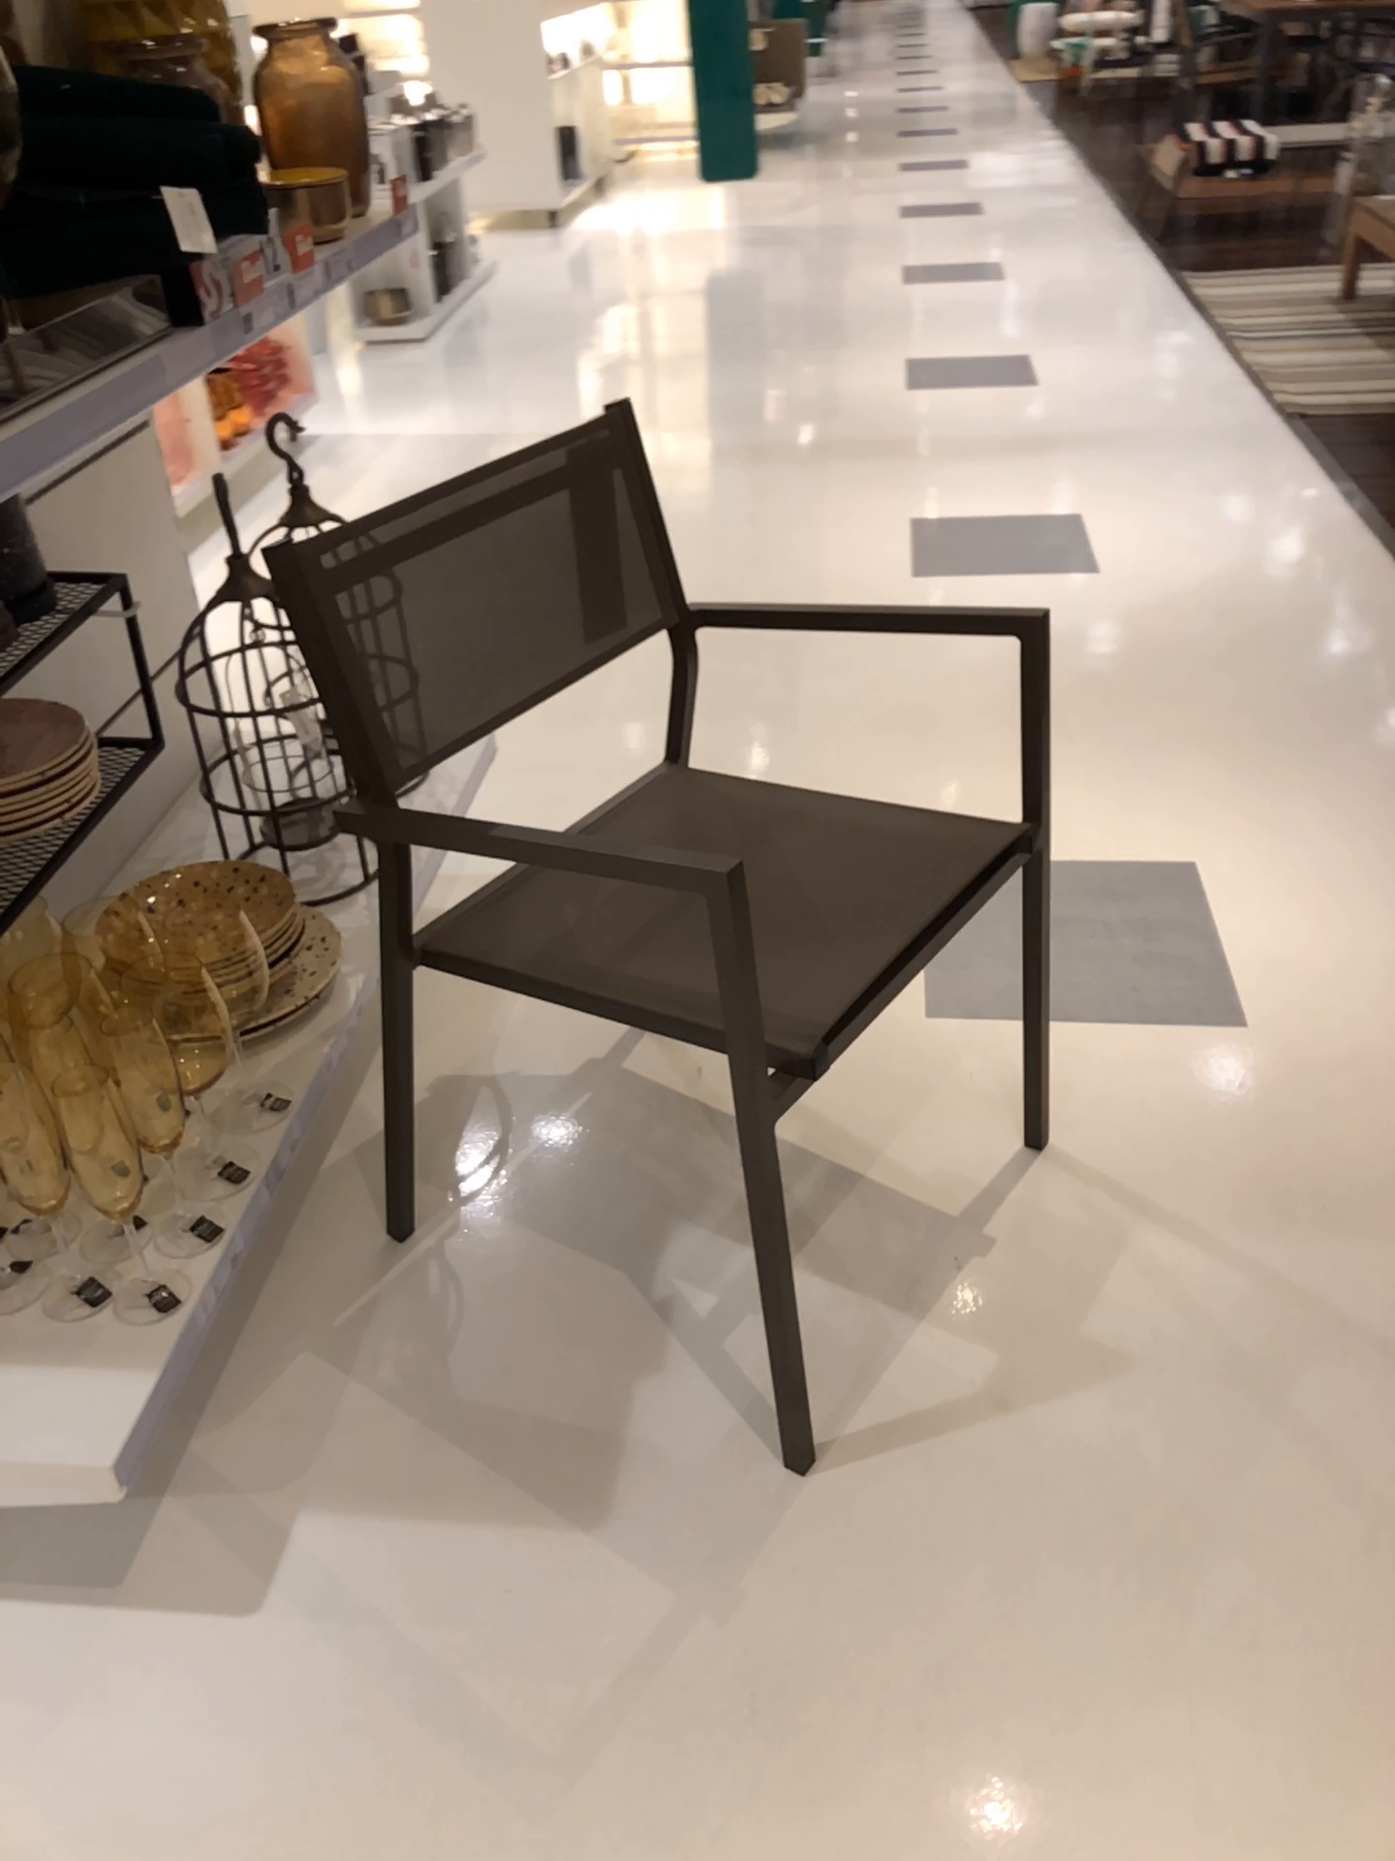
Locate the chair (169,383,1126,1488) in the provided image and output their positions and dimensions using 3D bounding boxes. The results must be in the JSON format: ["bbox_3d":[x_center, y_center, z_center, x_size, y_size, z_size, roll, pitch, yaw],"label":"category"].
[{"bbox_3d":[-0.005,-0.045,1.491,0.581,0.764,0.573,18,38,30],"label":"chair"}]
